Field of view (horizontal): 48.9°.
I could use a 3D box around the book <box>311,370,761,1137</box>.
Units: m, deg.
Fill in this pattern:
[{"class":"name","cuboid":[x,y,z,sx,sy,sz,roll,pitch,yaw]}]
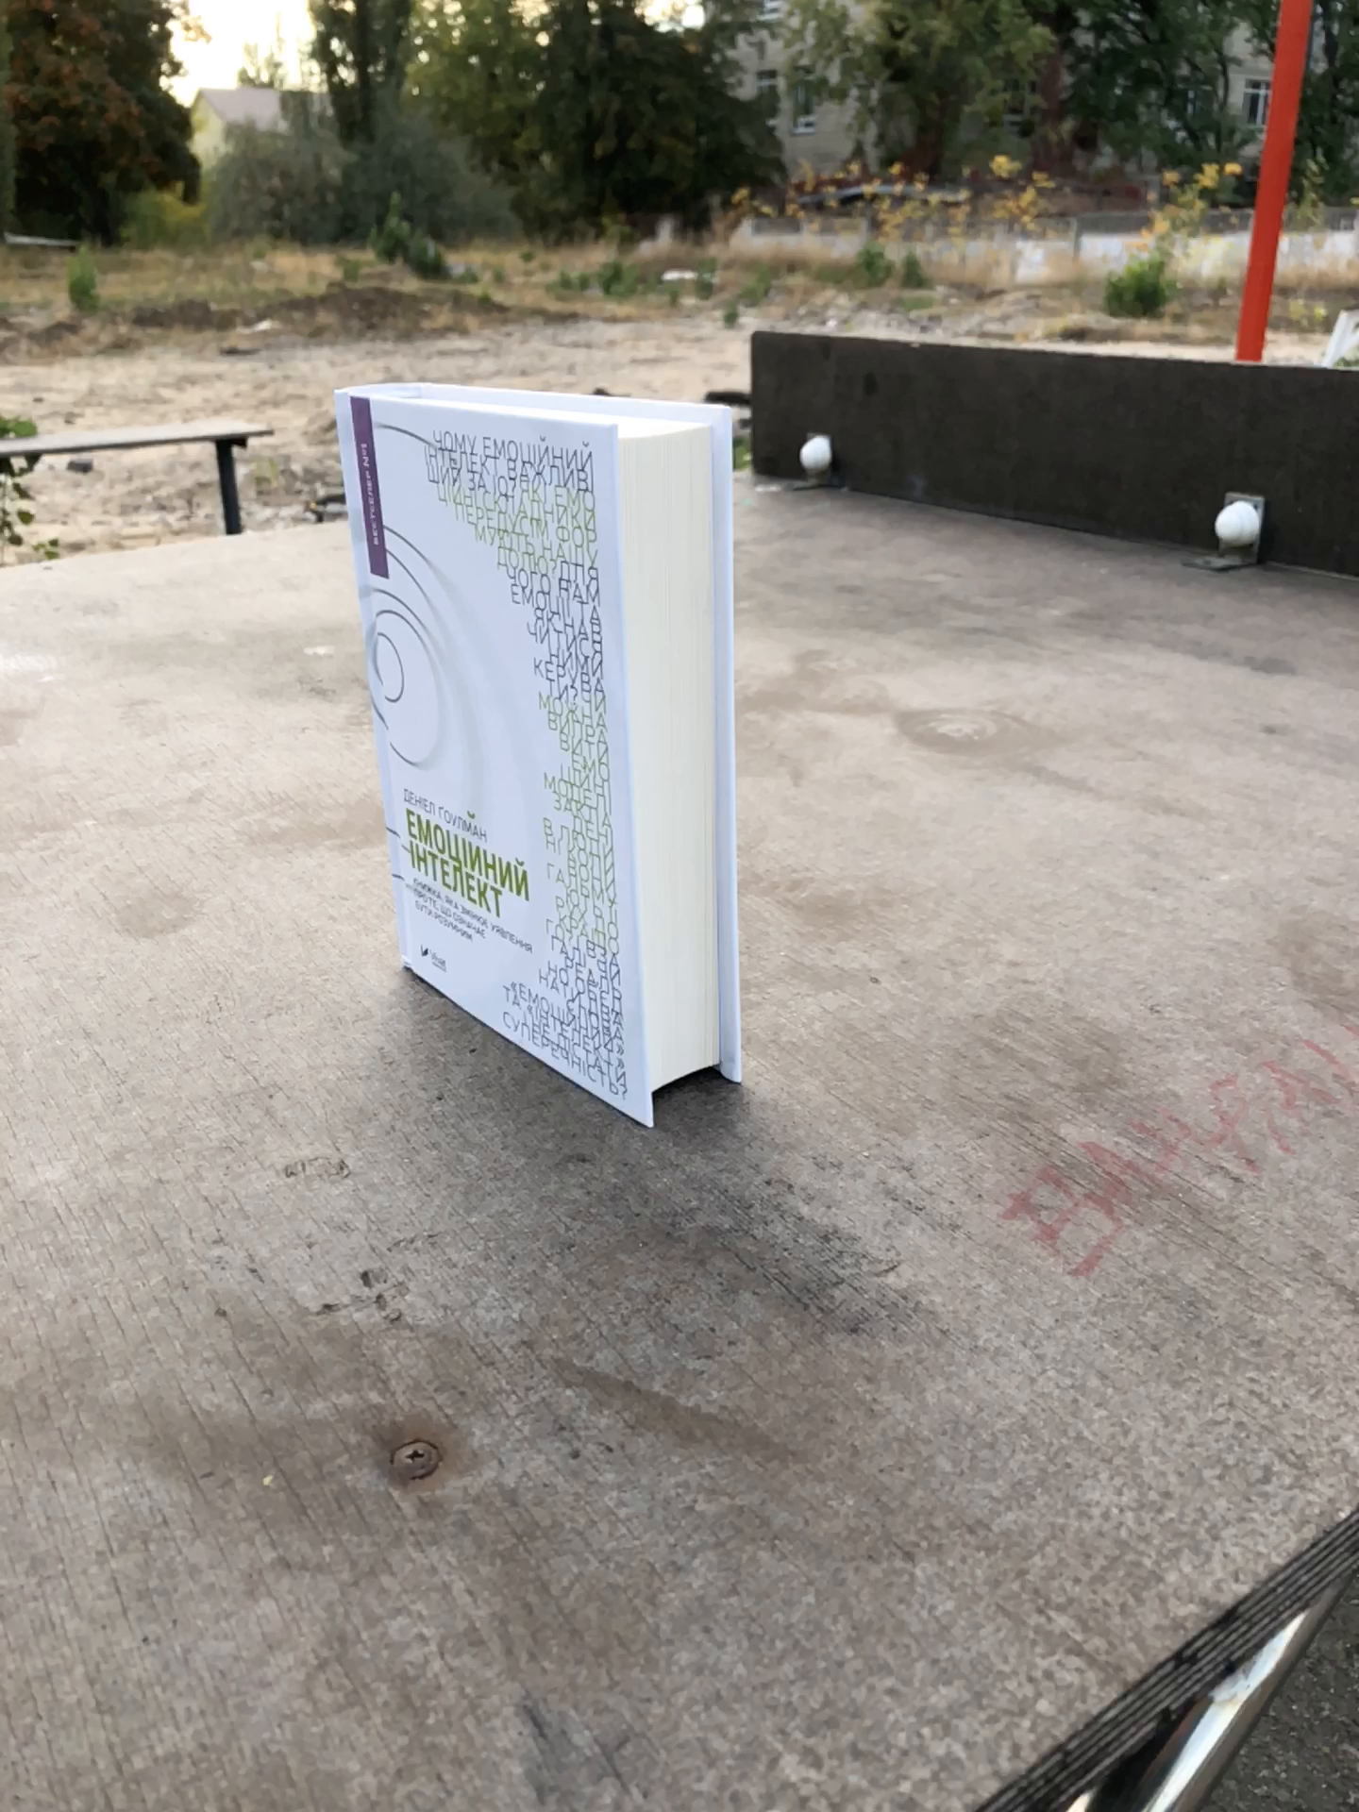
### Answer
[{"class":"book","cuboid":[-0.047,-0.057,0.484,0.050,0.209,0.161,-19,30,-36]}]
